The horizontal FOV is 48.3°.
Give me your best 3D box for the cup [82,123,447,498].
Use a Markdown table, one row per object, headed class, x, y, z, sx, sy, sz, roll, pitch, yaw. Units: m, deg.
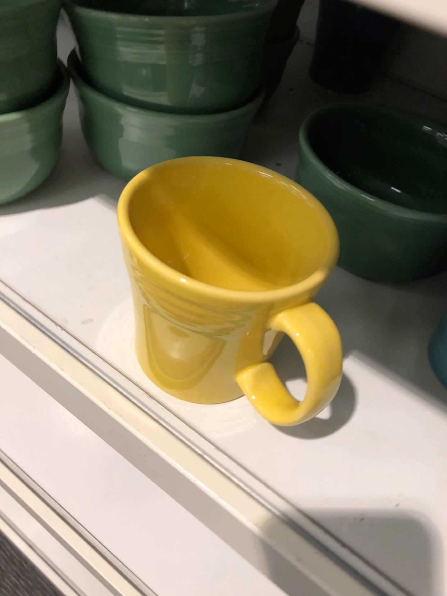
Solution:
| class | x | y | z | sx | sy | sz | roll | pitch | yaw |
| --- | --- | --- | --- | --- | --- | --- | --- | --- | --- |
| cup | 0.013 | 0.000 | 0.256 | 0.137 | 0.100 | 0.097 | 38 | 52 | 22 |
